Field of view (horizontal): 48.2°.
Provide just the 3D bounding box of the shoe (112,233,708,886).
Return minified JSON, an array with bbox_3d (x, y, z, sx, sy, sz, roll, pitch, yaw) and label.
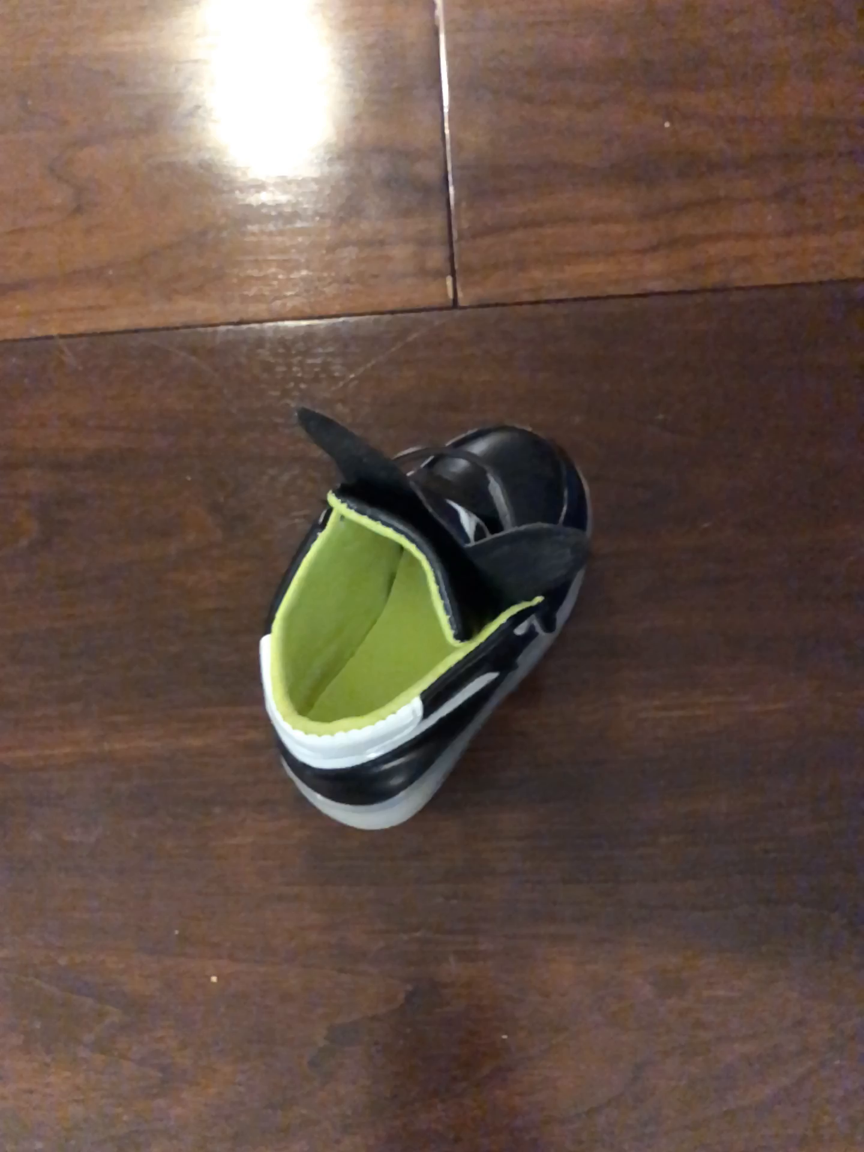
[{"bbox_3d":[0.001,-0.002,0.297,0.090,0.100,0.150,28,70,15],"label":"shoe"}]
